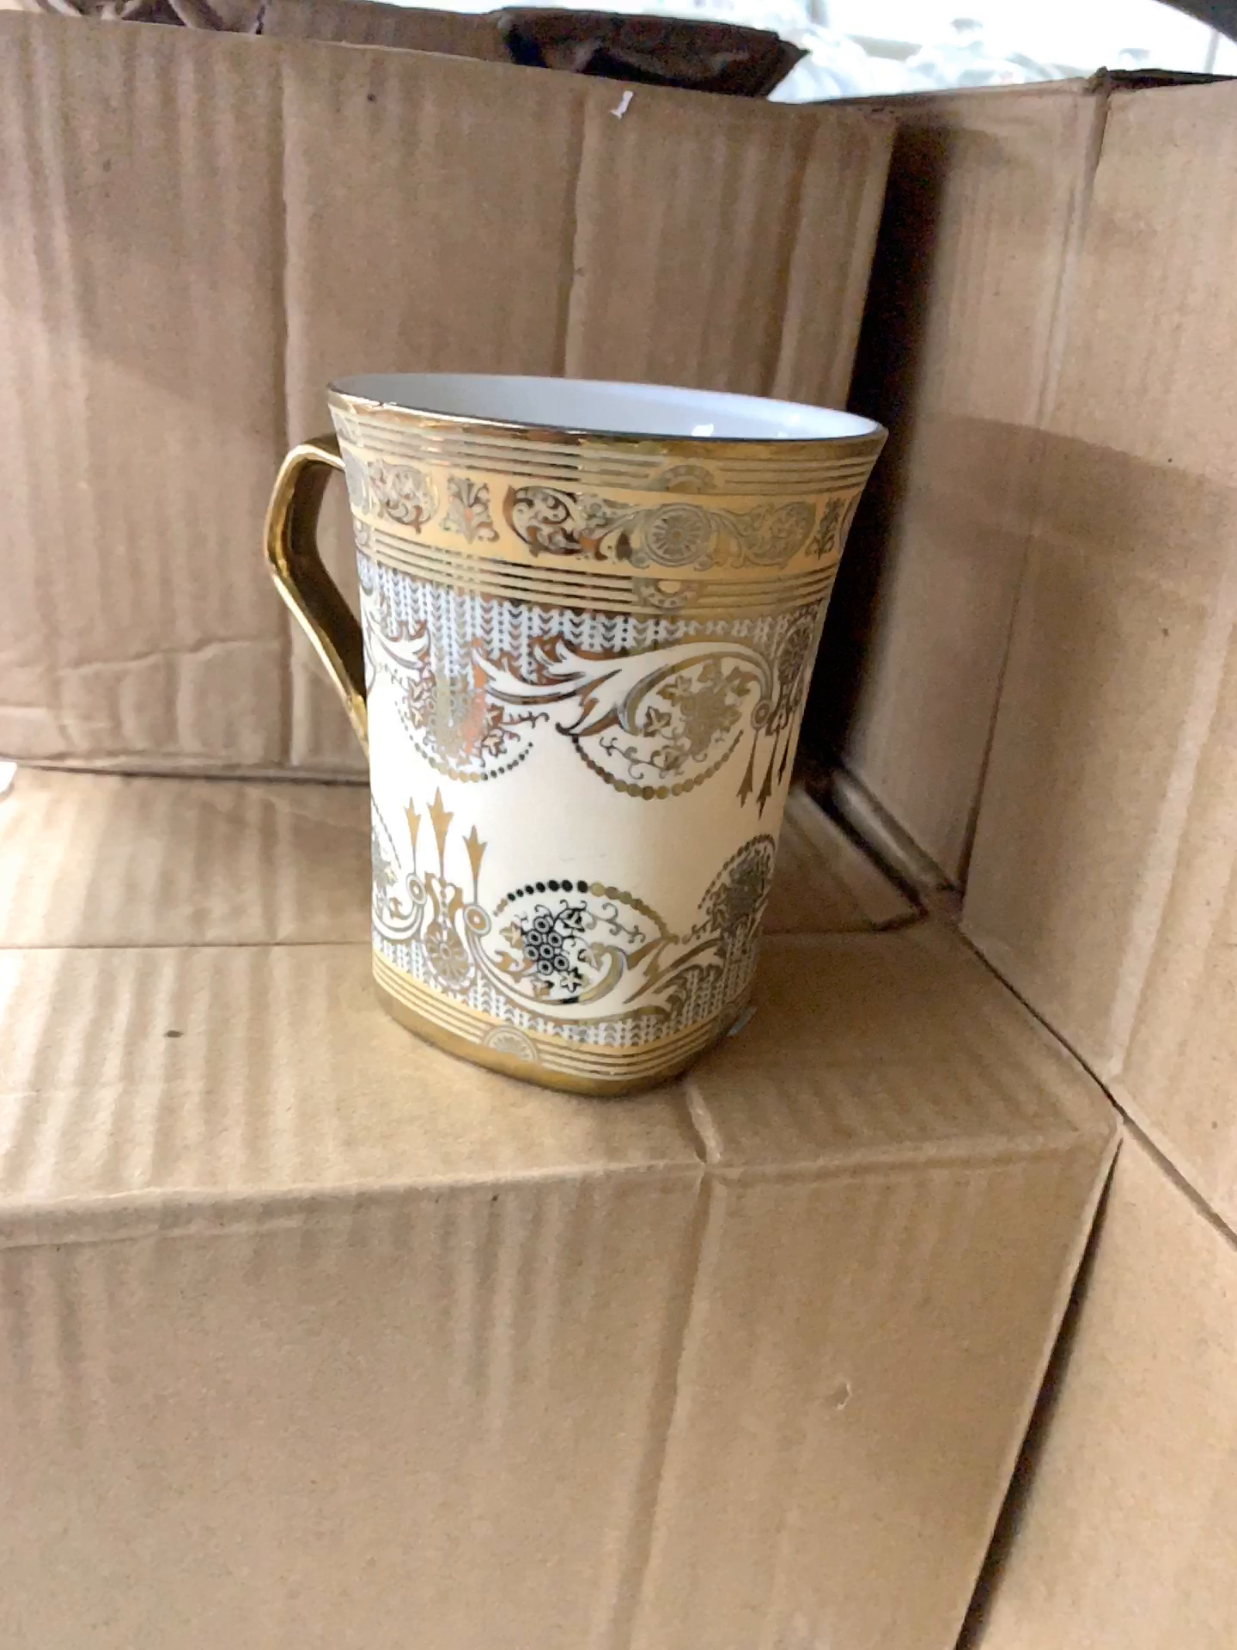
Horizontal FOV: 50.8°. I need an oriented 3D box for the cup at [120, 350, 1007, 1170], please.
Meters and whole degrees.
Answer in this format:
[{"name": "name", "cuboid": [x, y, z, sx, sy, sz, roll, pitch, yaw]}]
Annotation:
[{"name": "cup", "cuboid": [-0.009, -0.023, 0.214, 0.105, 0.092, 0.084, 19, 28, 31]}]
